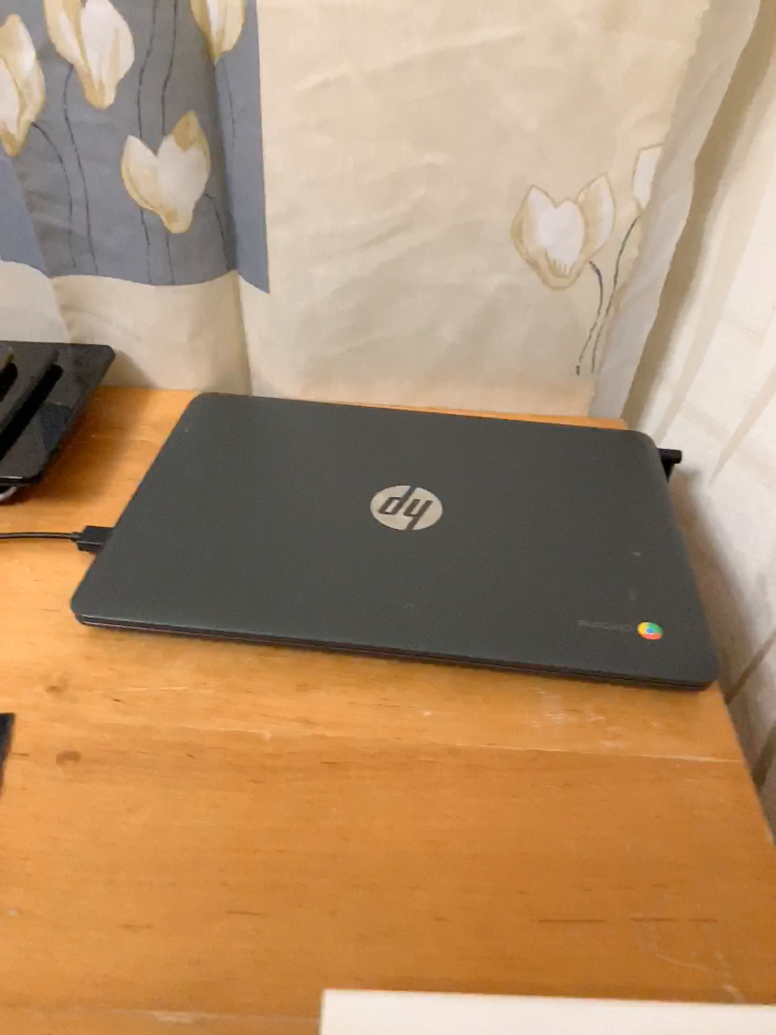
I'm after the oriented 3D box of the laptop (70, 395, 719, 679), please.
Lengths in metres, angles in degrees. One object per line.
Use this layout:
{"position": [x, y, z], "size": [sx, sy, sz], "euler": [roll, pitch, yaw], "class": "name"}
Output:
{"position": [0.009, -0.005, 0.421], "size": [0.281, 0.002, 0.195], "euler": [5, 38, 4], "class": "laptop"}
